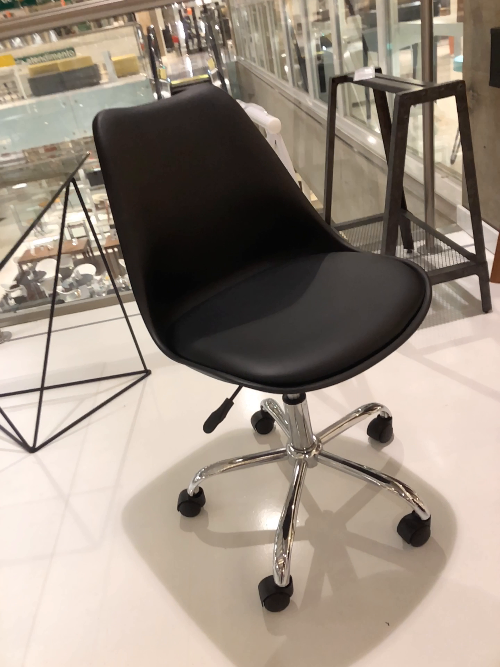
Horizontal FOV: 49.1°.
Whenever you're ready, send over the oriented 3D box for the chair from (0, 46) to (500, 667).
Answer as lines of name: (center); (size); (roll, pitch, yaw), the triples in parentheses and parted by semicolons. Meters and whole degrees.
chair: (0.057, -0.017, 1.069); (0.632, 0.823, 0.633); (-30, 34, -29)
